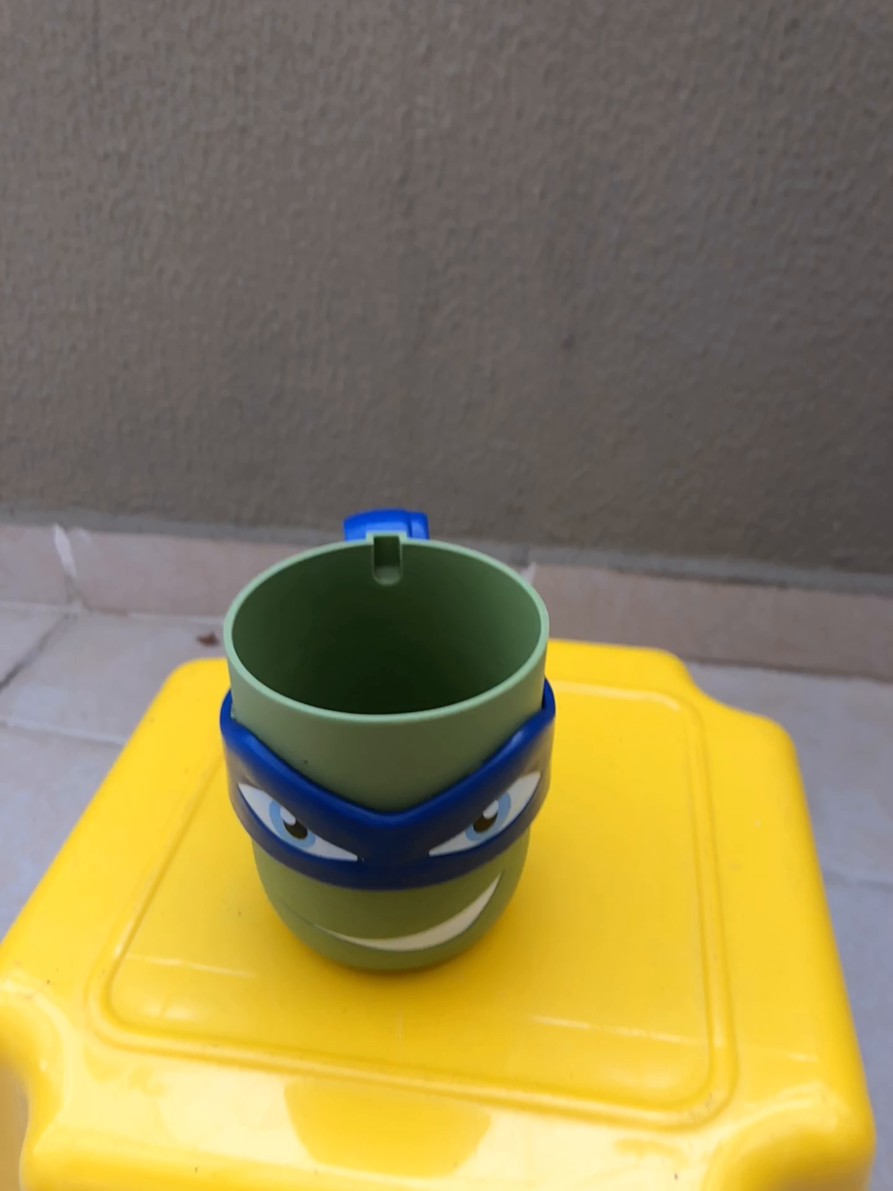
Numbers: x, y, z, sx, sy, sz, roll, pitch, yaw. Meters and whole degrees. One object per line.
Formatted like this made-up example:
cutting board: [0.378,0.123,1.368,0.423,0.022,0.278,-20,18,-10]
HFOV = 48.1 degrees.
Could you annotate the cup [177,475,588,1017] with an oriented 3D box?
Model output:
cup: [-0.014,0.033,0.265,0.080,0.089,0.111,-1,32,-1]
